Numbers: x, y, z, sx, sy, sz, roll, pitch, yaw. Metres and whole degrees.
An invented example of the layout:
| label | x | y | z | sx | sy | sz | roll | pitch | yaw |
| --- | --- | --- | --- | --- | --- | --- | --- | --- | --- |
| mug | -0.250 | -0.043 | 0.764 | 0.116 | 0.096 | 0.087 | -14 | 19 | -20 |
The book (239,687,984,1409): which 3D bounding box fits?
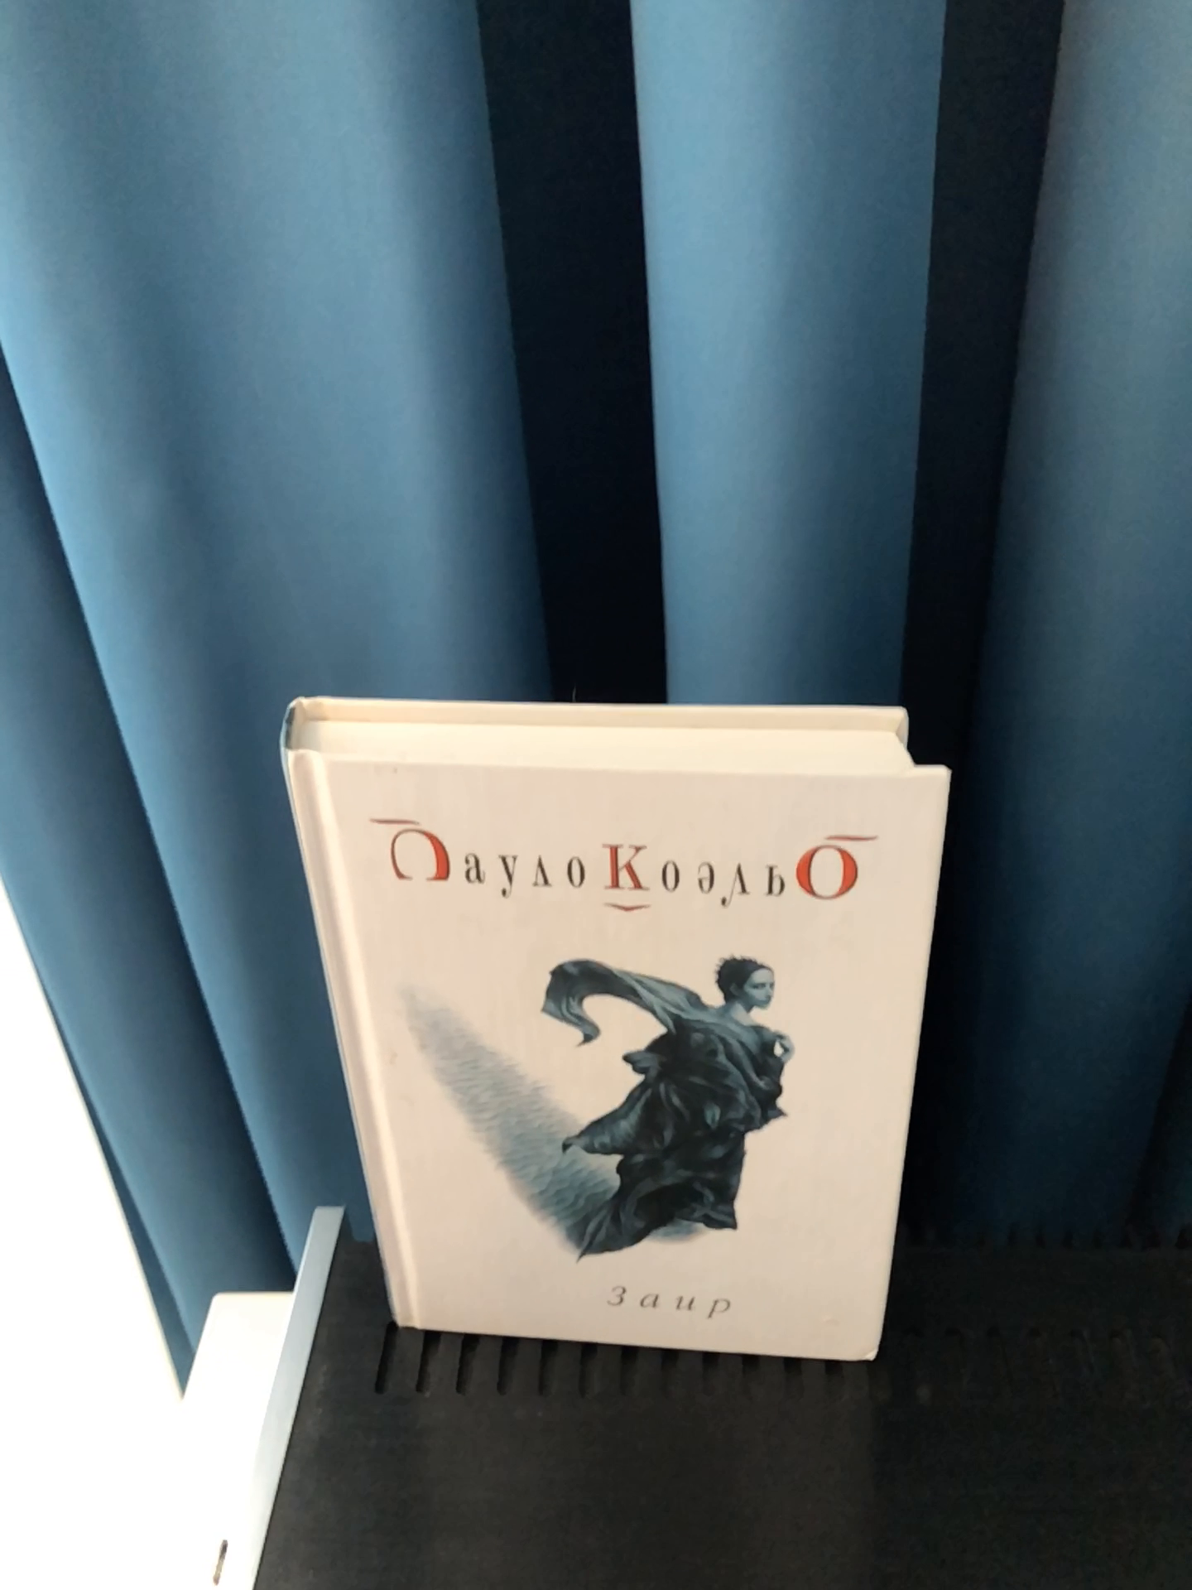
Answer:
| label | x | y | z | sx | sy | sz | roll | pitch | yaw |
| --- | --- | --- | --- | --- | --- | --- | --- | --- | --- |
| book | 0.007 | 0.063 | 0.291 | 0.130 | 0.179 | 0.030 | 1 | 34 | 8 |
